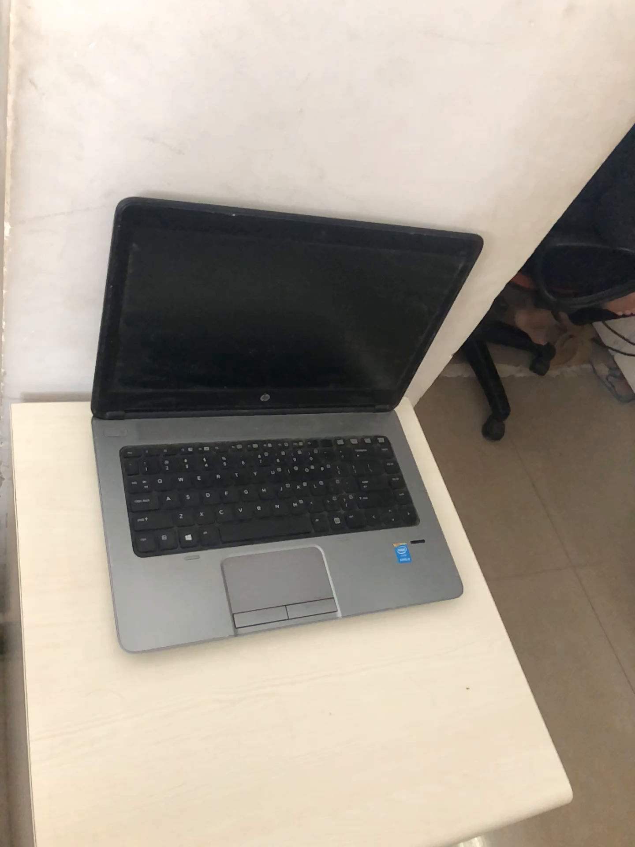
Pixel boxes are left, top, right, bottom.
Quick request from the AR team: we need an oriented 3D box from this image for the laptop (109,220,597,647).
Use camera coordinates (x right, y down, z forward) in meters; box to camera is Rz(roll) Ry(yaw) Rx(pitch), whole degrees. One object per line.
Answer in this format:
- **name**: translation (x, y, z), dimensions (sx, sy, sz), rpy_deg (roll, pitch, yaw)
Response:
- **laptop**: translation (0.005, 0.008, 0.582), dimensions (0.304, 0.209, 0.238), rpy_deg (-1, 56, -26)
